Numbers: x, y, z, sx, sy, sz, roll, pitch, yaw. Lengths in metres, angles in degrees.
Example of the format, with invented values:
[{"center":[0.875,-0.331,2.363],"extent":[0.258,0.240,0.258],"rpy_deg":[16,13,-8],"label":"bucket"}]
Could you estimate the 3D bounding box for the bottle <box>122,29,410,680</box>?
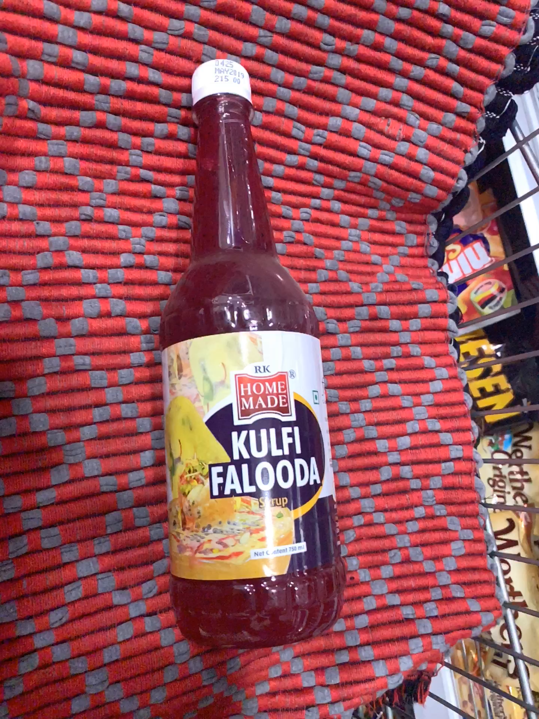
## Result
[{"center":[-0.014,-0.011,0.248],"extent":[0.070,0.070,0.250],"rpy_deg":[0,71,-28],"label":"bottle"}]
